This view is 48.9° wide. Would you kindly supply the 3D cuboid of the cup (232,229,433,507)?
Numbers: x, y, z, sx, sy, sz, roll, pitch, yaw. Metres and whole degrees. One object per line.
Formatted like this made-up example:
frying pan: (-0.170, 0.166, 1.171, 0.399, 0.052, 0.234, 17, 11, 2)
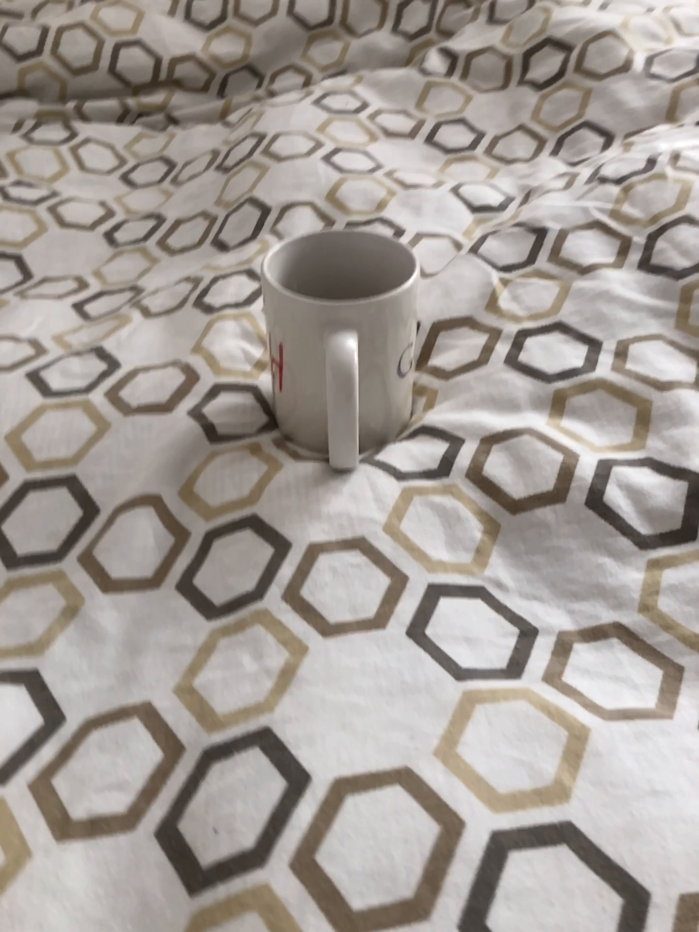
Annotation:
cup: (-0.005, -0.055, 0.406, 0.086, 0.087, 0.127, 0, 44, 2)
